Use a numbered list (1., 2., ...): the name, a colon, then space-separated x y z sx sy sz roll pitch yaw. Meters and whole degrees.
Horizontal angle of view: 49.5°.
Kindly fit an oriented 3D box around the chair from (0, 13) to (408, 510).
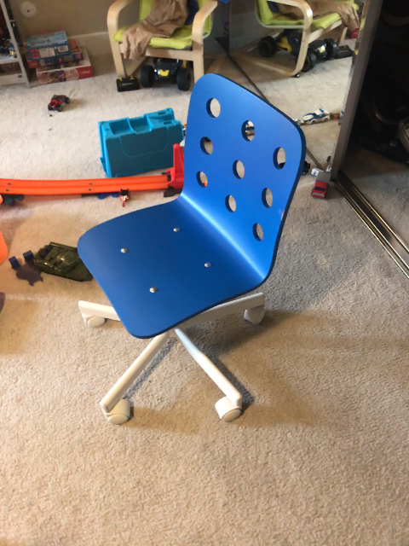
1. chair: -0.043 -0.016 1.074 0.672 0.814 0.622 -25 54 -20
